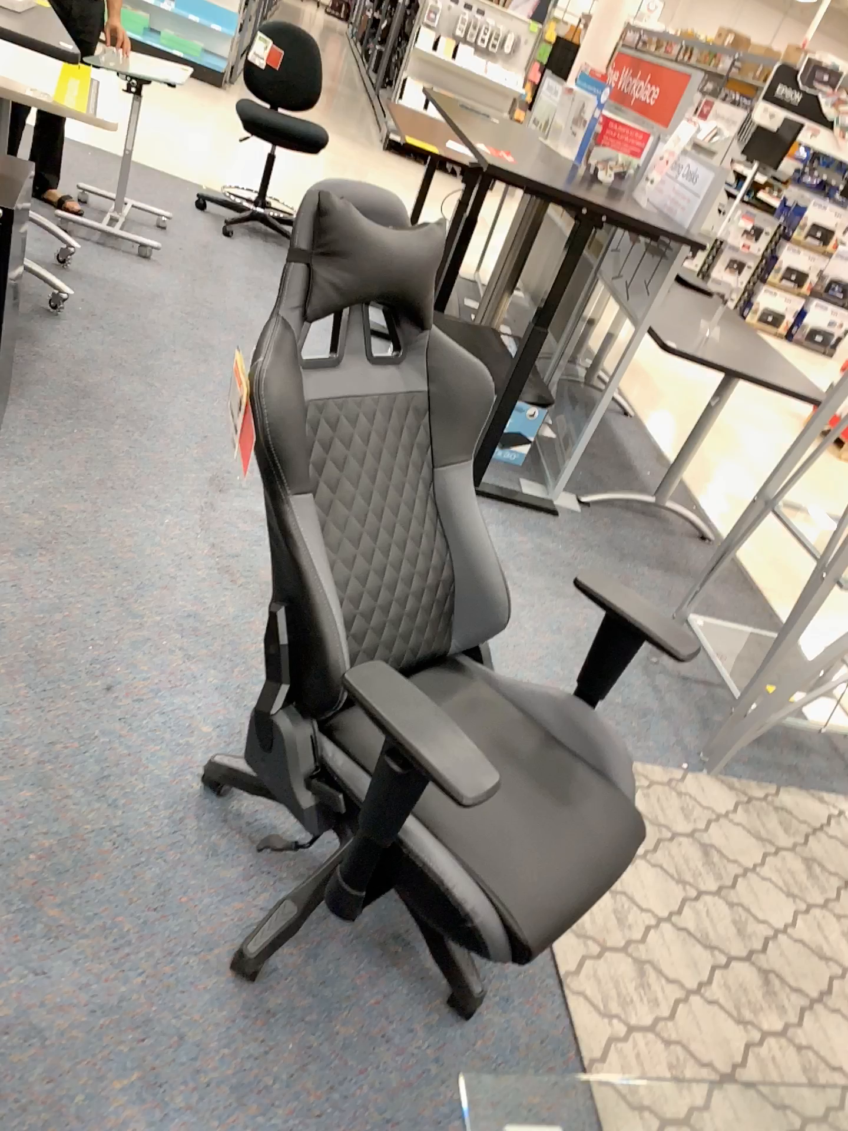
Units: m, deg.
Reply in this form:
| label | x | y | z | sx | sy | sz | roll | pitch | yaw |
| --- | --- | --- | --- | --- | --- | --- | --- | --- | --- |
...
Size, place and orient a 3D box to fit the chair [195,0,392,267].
| label | x | y | z | sx | sy | sz | roll | pitch | yaw |
| --- | --- | --- | --- | --- | --- | --- | --- | --- | --- |
| chair | -0.737 | -2.280 | 4.525 | 0.676 | 0.982 | 0.875 | 8 | 34 | -24 |

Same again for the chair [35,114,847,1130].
| label | x | y | z | sx | sy | sz | roll | pitch | yaw |
| --- | --- | --- | --- | --- | --- | --- | --- | --- | --- |
| chair | 0.046 | 0.065 | 1.389 | 0.912 | 1.061 | 0.788 | 39 | 34 | 25 |
